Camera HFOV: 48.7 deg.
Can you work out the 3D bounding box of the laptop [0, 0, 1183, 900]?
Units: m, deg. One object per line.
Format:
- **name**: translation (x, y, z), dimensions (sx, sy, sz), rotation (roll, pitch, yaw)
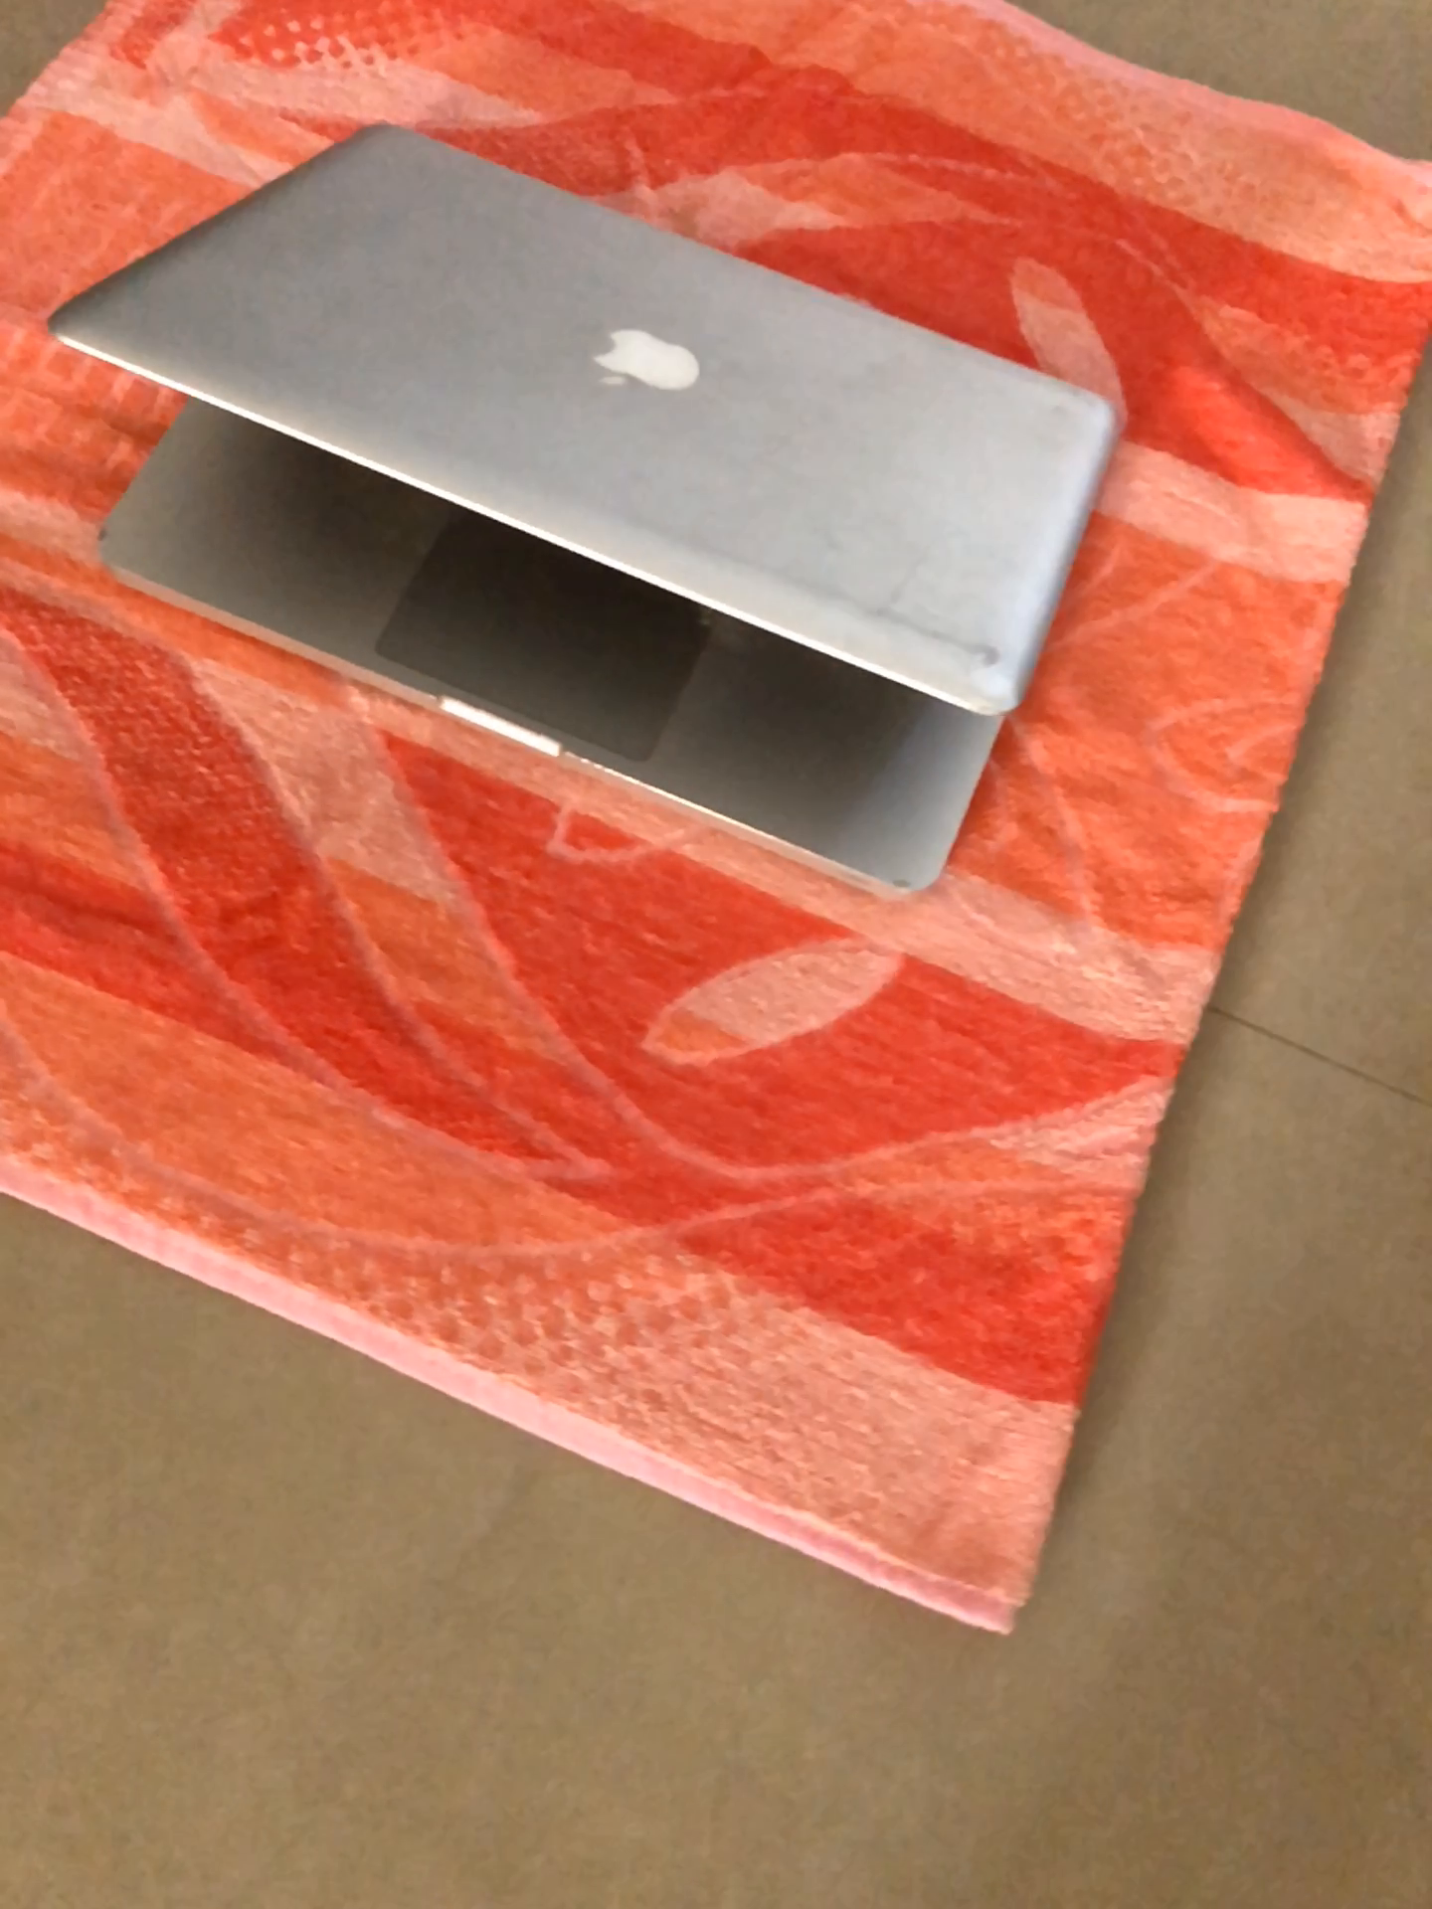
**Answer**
- **laptop**: translation (-0.031, -0.187, 0.540), dimensions (0.310, 0.087, 0.223), rotation (23, 68, 3)
